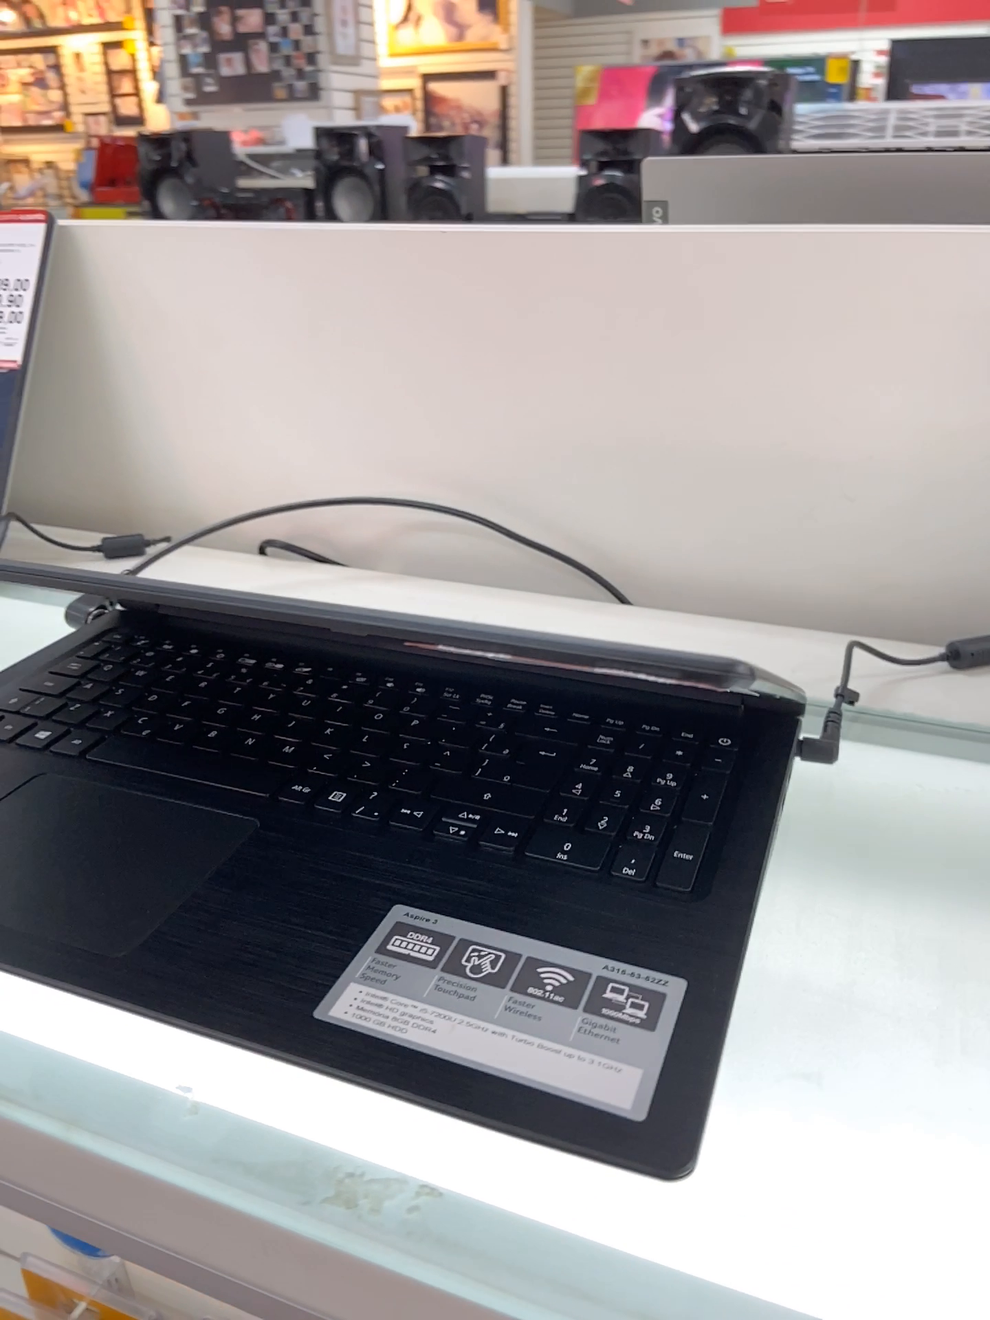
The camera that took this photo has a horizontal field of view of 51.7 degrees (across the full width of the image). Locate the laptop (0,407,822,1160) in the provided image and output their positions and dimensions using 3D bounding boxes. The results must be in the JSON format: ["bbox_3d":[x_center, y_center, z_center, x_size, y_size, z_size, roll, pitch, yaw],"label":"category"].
[{"bbox_3d":[-0.091,-0.004,0.392,0.381,0.118,0.237,8,27,20],"label":"laptop"}]
